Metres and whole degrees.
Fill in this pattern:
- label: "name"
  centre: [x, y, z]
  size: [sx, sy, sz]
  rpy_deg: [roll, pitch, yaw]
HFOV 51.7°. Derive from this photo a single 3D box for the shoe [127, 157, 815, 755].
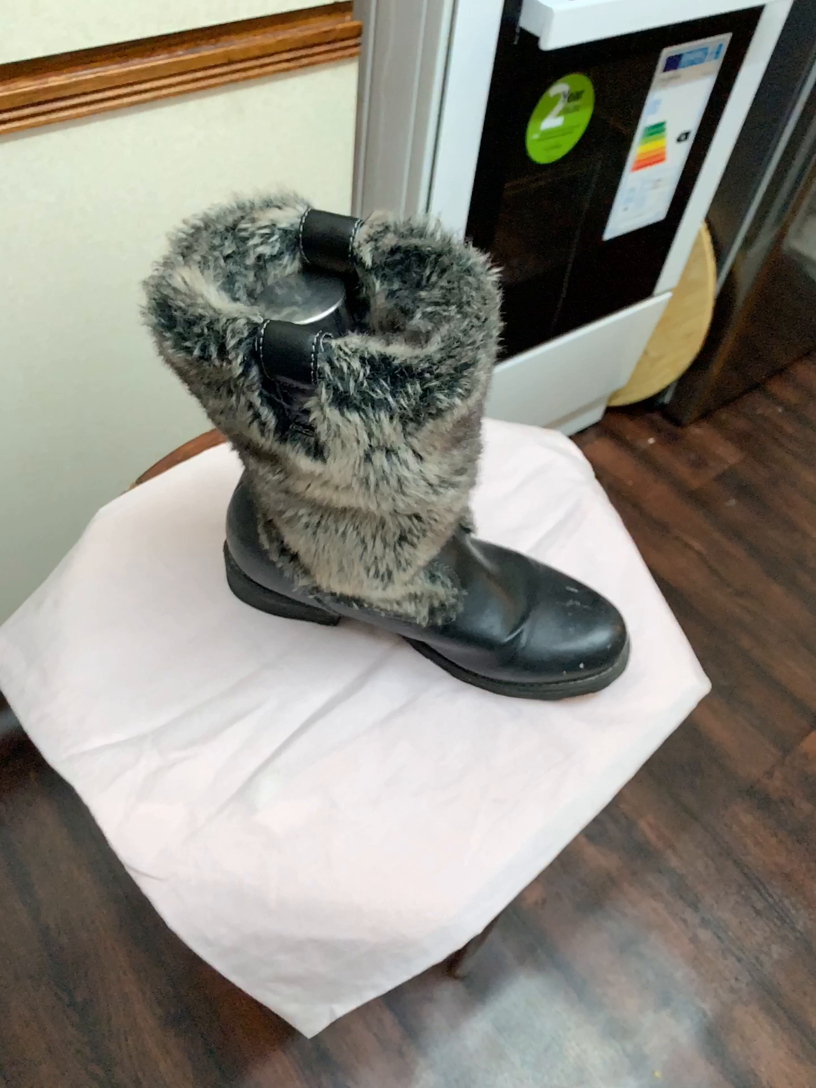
- label: "shoe"
  centre: [0.023, -0.032, 0.449]
  size: [0.270, 0.238, 0.121]
  rpy_deg: [16, 51, 6]
